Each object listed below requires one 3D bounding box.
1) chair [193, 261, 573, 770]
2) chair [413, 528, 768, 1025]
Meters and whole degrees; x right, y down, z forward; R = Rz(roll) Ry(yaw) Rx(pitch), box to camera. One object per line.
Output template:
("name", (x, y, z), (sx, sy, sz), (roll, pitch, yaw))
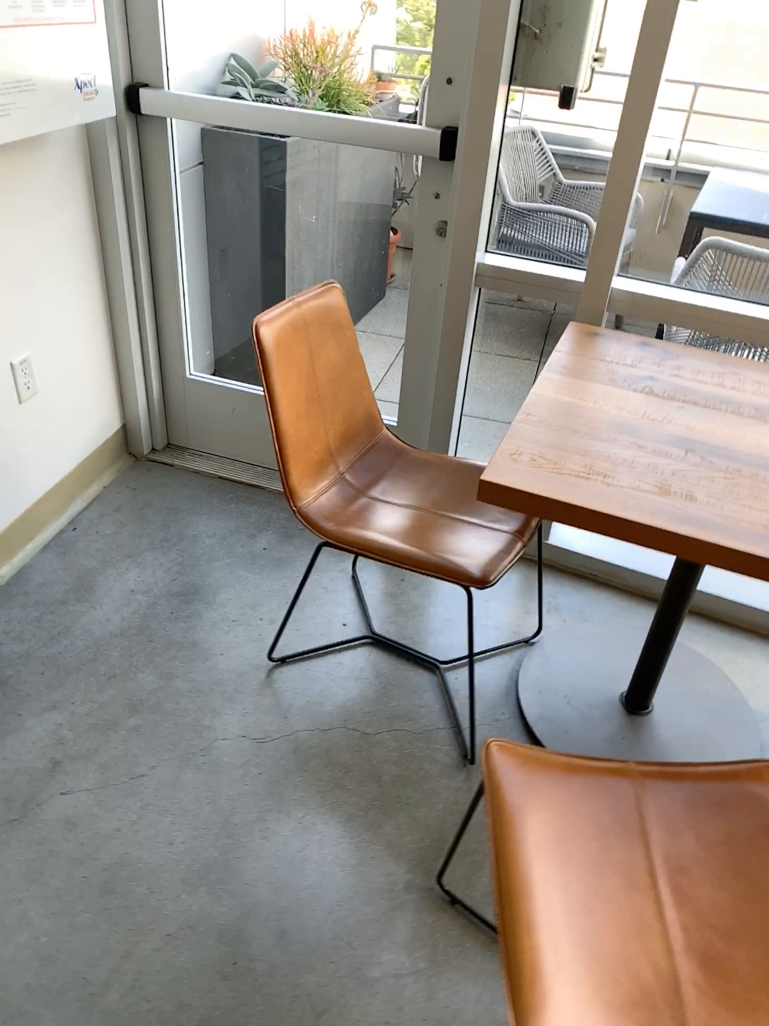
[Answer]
("chair", (0.011, -0.009, 1.704), (0.551, 0.865, 0.492), (16, 37, 21))
("chair", (0.325, 0.544, 1.022), (0.490, 0.865, 0.543), (5, 39, -1))
